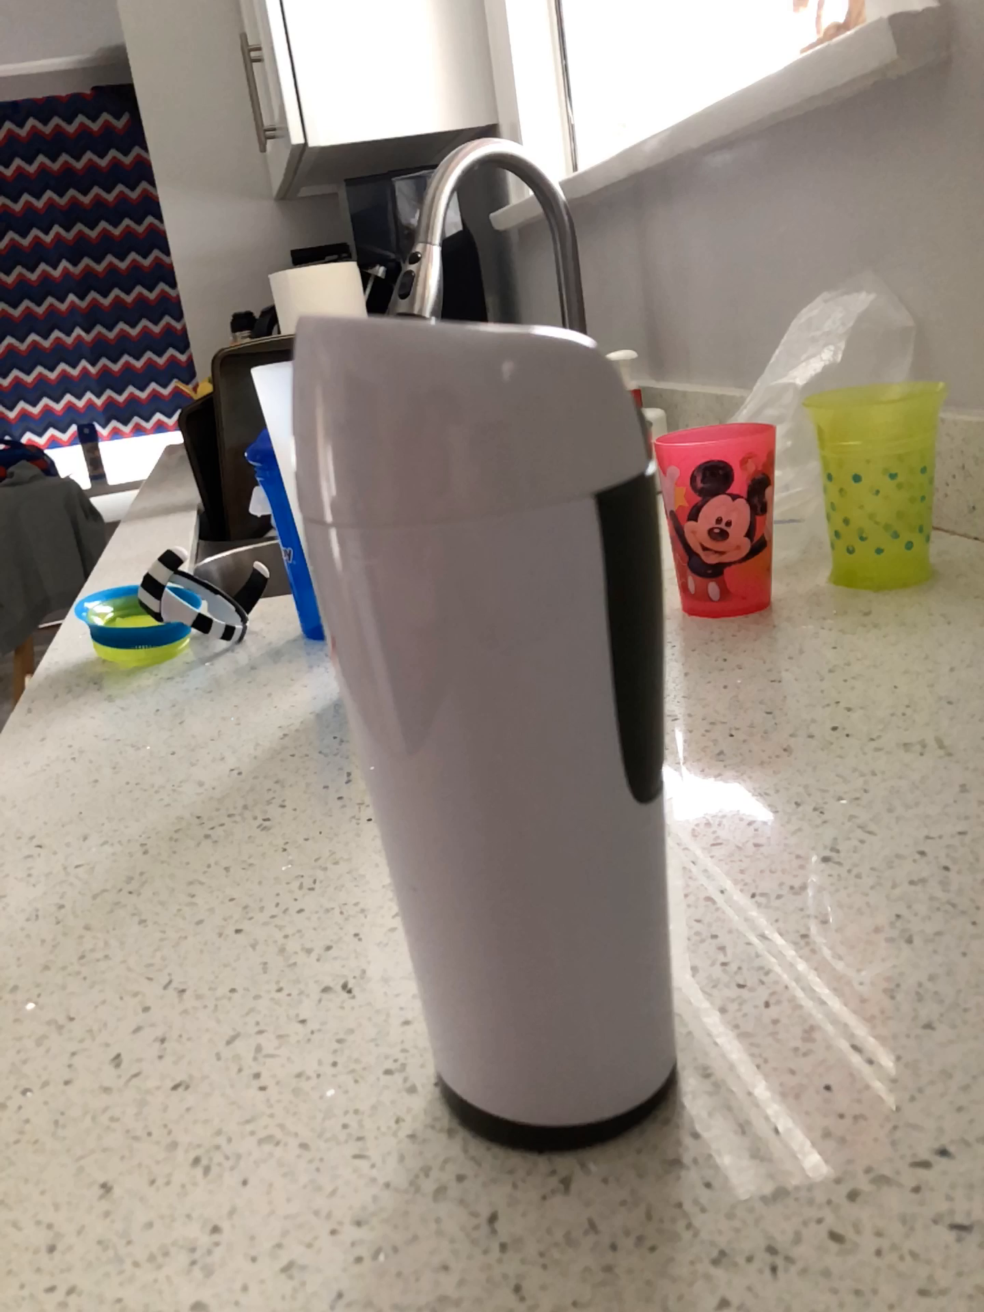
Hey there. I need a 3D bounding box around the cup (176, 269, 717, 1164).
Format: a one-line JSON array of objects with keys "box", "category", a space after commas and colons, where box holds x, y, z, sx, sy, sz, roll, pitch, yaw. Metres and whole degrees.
[{"box": [0.002, 0.012, 0.250, 0.081, 0.182, 0.078, -8, 17, 2], "category": "cup"}]
